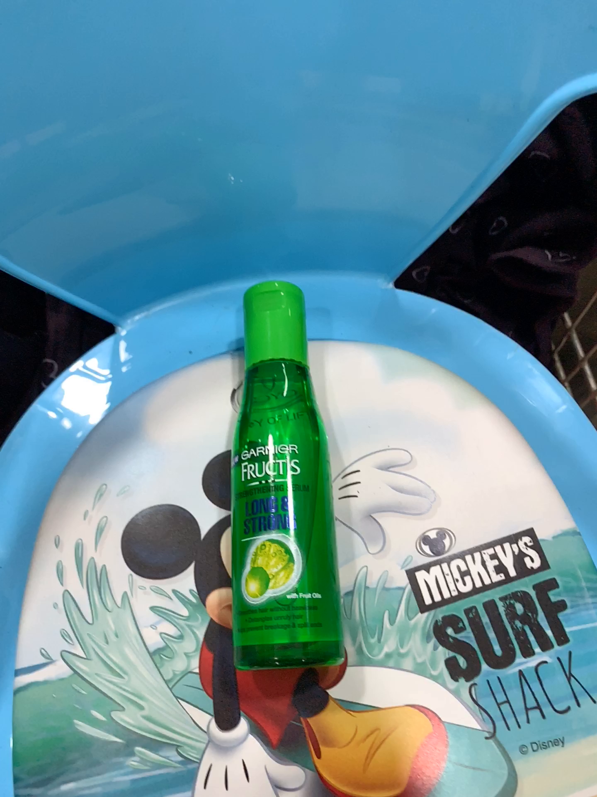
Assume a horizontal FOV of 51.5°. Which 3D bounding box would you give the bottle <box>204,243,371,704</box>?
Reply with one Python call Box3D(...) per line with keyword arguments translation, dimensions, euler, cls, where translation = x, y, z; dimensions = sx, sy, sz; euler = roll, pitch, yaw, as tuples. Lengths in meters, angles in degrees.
Box3D(translation=(-0.007, 0.023, 0.232), dimensions=(0.040, 0.040, 0.160), euler=(-14, 63, 21), cls="bottle")
